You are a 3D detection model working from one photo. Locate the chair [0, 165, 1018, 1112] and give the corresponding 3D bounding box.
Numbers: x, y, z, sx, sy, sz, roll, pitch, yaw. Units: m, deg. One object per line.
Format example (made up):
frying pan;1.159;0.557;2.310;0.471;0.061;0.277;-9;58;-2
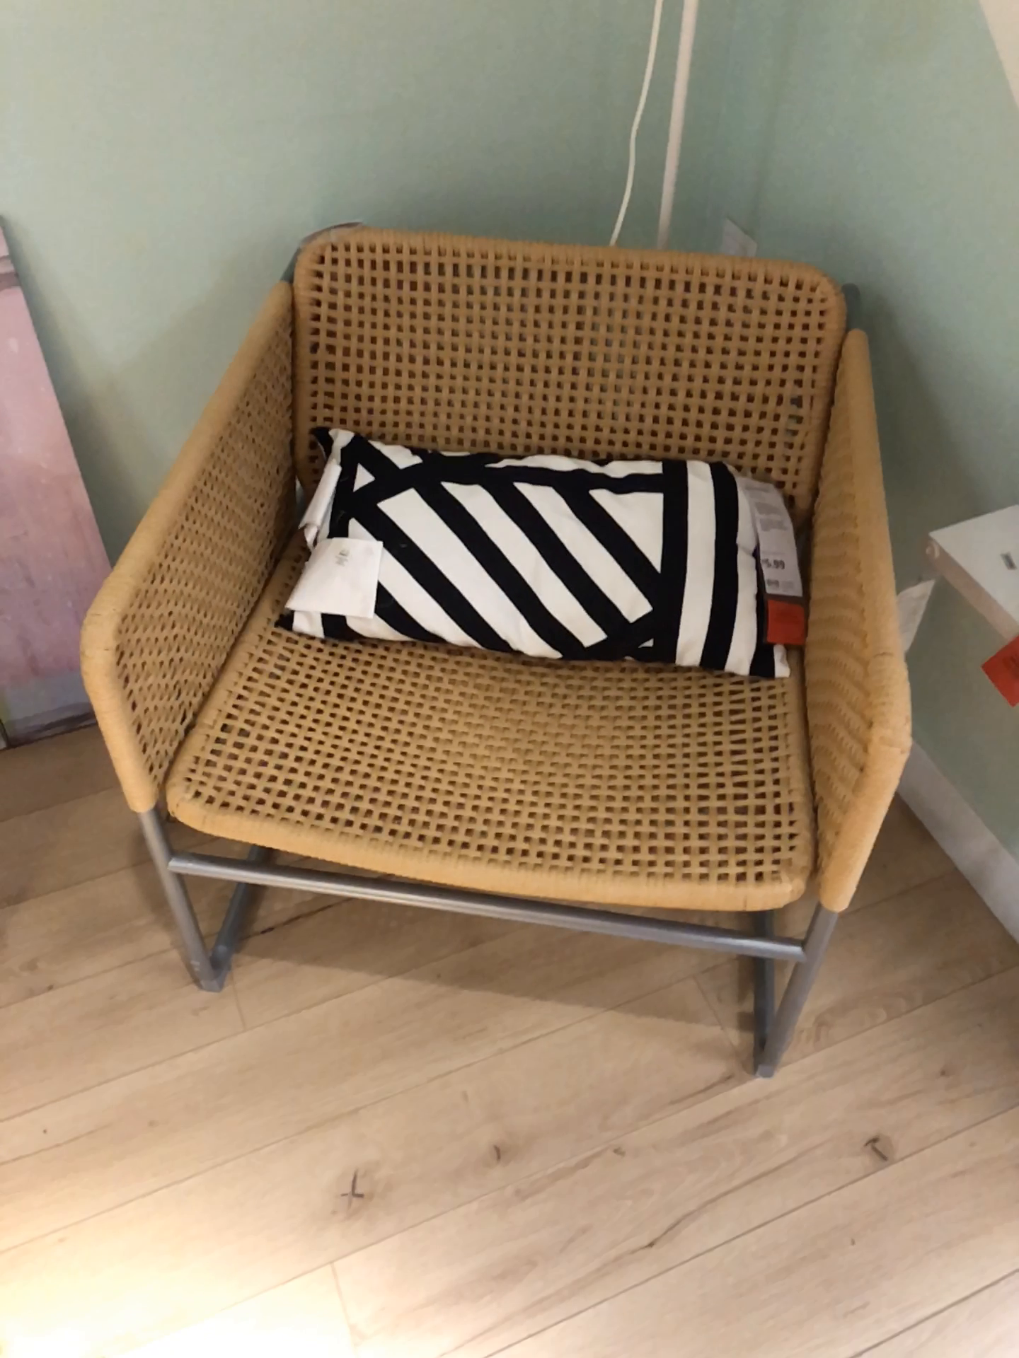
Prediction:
chair;0.024;-0.070;1.254;0.790;0.628;0.753;7;48;5
